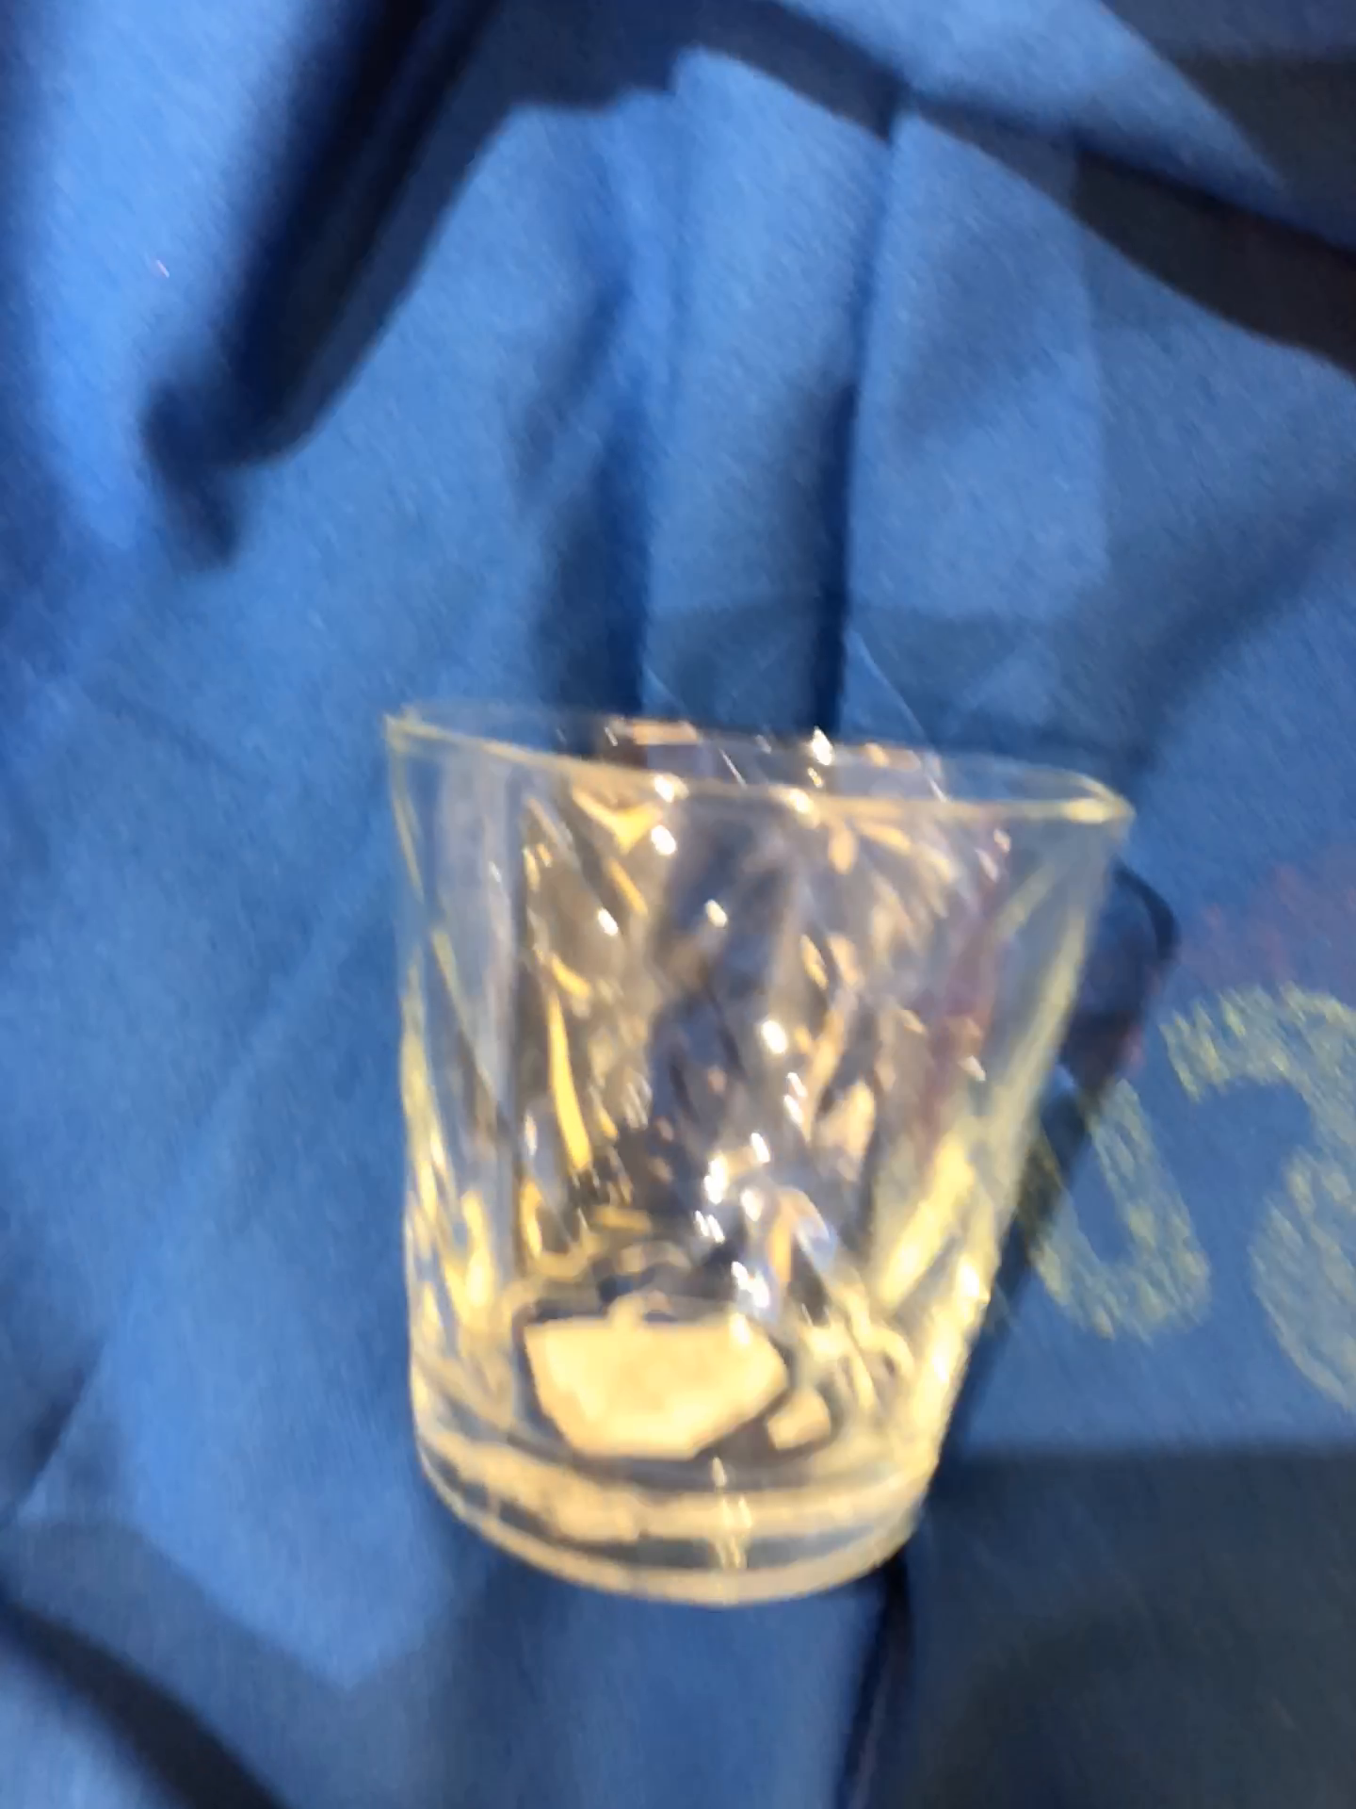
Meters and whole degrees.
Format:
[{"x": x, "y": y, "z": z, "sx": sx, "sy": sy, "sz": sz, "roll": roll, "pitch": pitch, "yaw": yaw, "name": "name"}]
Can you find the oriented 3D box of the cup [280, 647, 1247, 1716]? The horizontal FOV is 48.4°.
[{"x": 0.008, "y": 0.023, "z": 0.174, "sx": 0.080, "sy": 0.070, "sz": 0.090, "roll": 8, "pitch": 104, "yaw": 6, "name": "cup"}]
